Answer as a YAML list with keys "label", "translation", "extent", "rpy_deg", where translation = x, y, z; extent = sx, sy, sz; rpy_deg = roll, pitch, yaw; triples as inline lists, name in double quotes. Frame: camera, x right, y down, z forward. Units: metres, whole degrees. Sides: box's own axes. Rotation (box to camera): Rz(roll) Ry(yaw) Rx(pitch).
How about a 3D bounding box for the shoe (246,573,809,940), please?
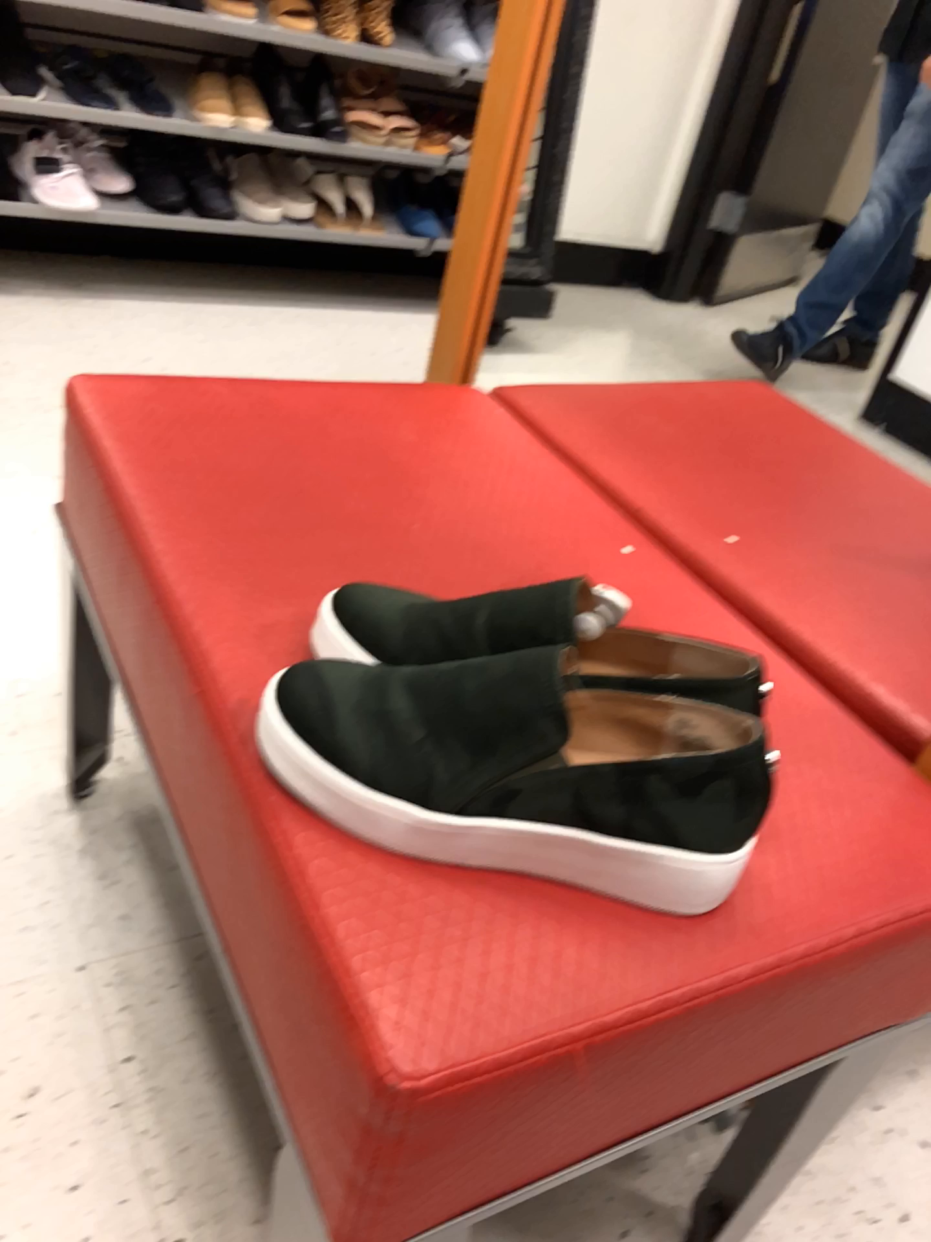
- label: "shoe"
  translation: [0.027, 0.065, 0.509]
  extent: [0.243, 0.090, 0.091]
  rpy_deg: [14, 32, -1]

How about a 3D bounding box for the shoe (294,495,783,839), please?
- label: "shoe"
  translation: [0.041, 0.022, 0.582]
  extent: [0.249, 0.090, 0.089]
  rpy_deg: [18, 32, 6]
